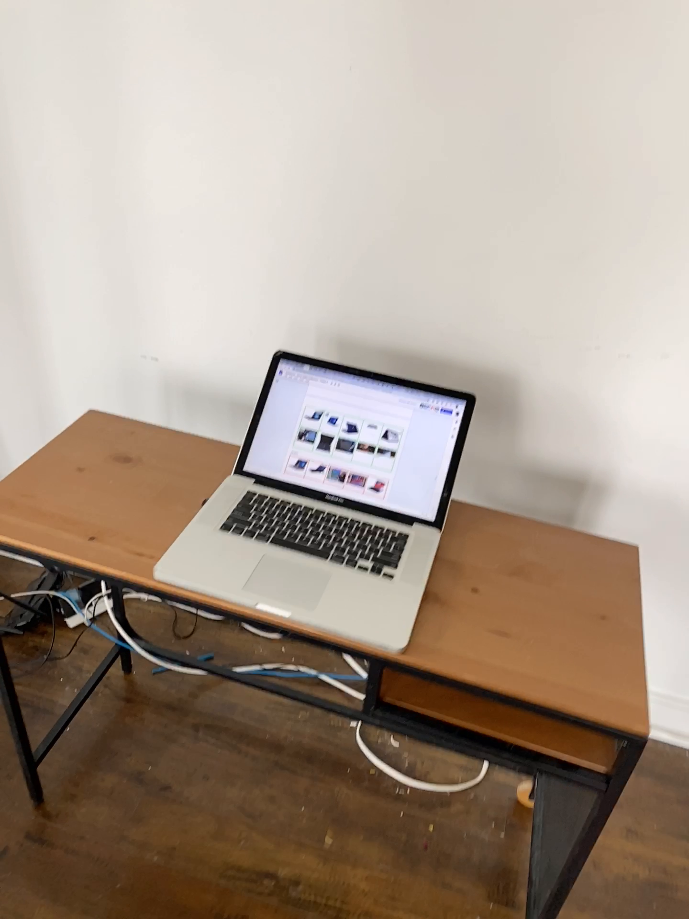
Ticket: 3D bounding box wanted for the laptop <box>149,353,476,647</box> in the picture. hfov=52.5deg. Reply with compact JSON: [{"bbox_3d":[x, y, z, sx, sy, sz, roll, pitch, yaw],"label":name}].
[{"bbox_3d":[-0.021,0.028,1.087,0.359,0.155,0.437,14,35,12],"label":"laptop"}]
